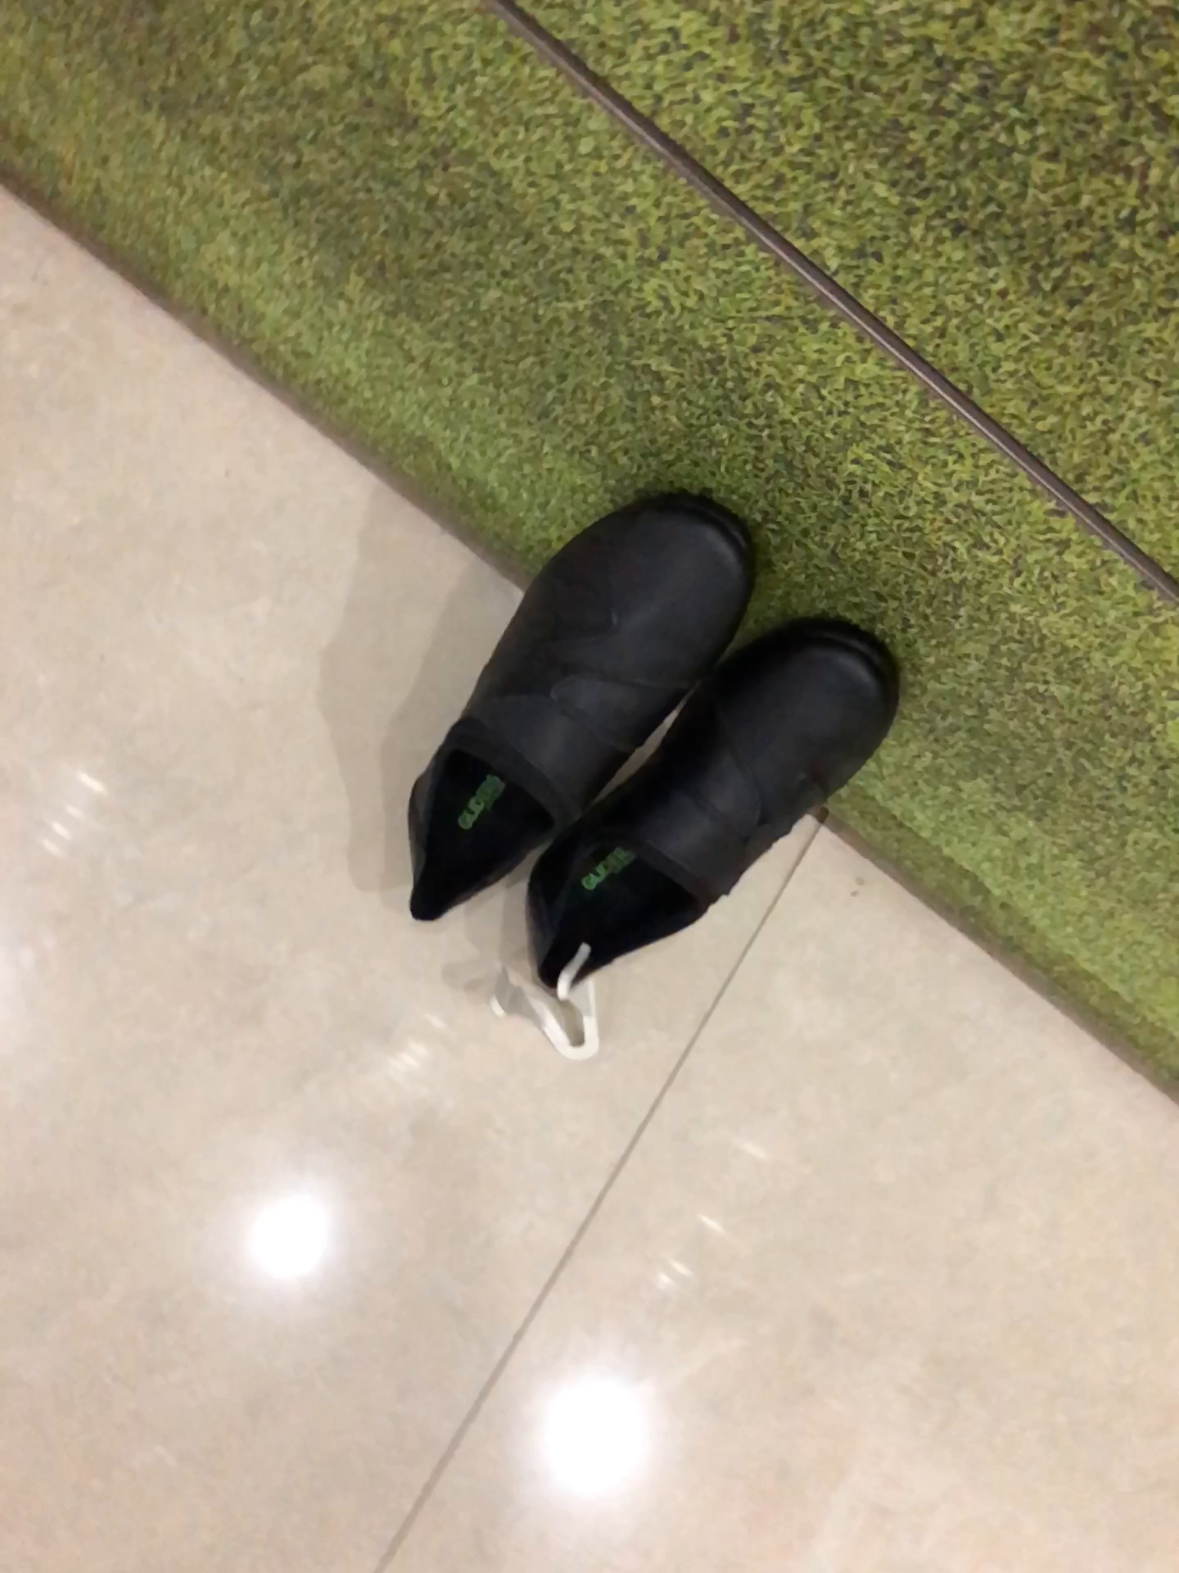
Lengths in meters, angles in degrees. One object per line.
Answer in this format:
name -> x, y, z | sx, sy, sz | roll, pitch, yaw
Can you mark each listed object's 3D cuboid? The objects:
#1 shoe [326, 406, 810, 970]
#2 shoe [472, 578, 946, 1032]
shoe -> -0.012, -0.042, 0.621 | 0.087, 0.248, 0.107 | 36, 30, -8
shoe -> 0.049, 0.016, 0.602 | 0.074, 0.229, 0.067 | 42, 35, -7
